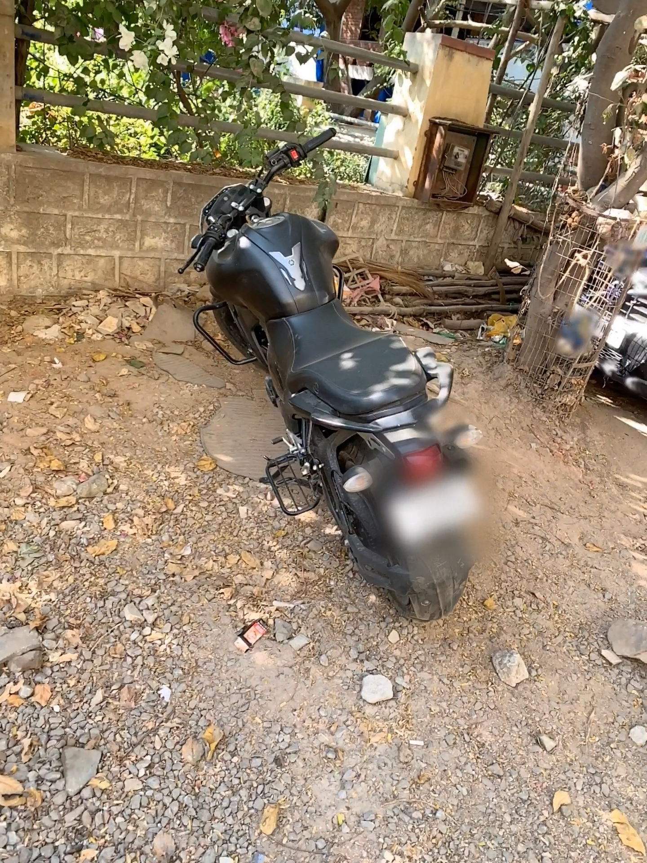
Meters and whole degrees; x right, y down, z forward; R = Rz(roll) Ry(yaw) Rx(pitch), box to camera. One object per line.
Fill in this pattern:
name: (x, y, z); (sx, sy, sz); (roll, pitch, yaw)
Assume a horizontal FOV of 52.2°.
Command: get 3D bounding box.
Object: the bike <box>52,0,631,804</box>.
bike: (-0.263, -0.292, 2.083); (0.819, 1.498, 1.762); (-4, 34, -30)
